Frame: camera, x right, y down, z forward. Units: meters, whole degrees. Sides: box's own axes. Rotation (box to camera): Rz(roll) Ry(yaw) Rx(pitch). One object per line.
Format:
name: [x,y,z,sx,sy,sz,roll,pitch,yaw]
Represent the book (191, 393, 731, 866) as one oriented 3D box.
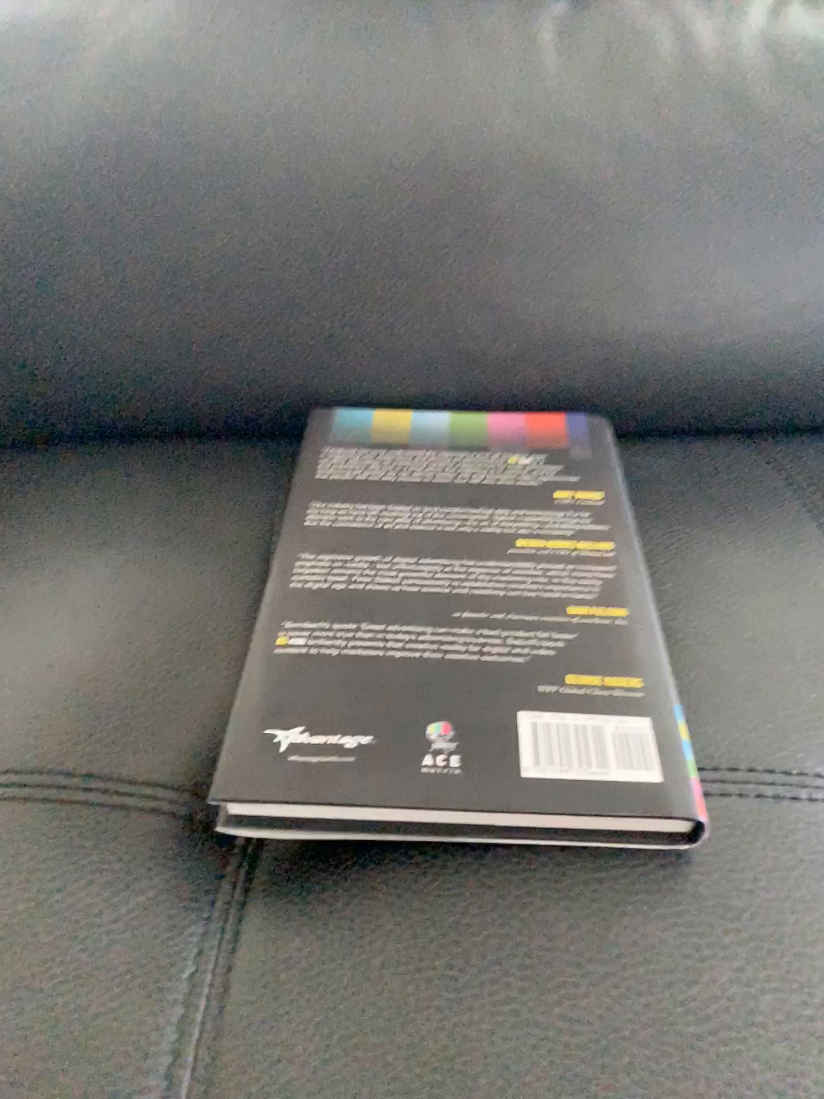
book: [0.019,0.010,0.354,0.160,0.030,0.238,2,40,2]
